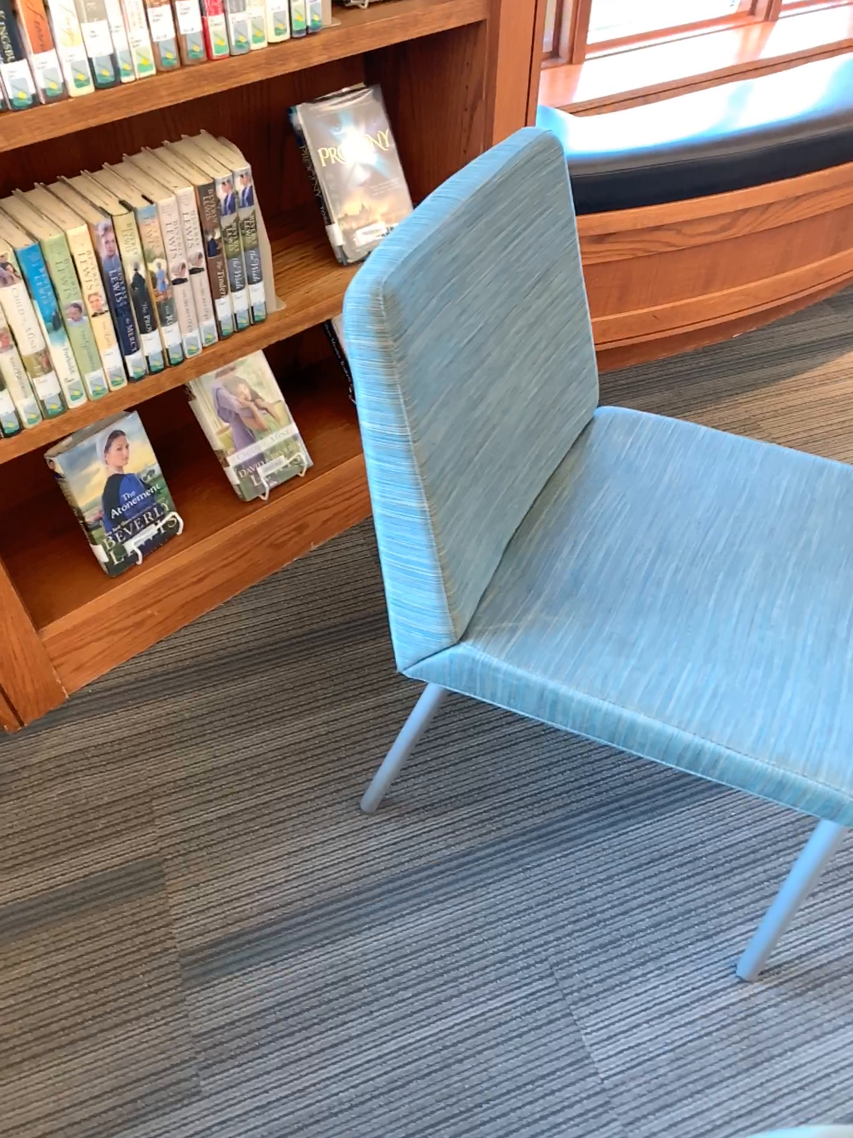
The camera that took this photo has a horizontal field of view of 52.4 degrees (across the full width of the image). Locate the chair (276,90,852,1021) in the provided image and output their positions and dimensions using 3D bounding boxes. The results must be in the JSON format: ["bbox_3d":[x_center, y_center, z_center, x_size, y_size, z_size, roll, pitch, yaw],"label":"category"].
[{"bbox_3d":[0.270,-0.002,1.019,0.591,0.787,0.552,20,50,18],"label":"chair"}]
